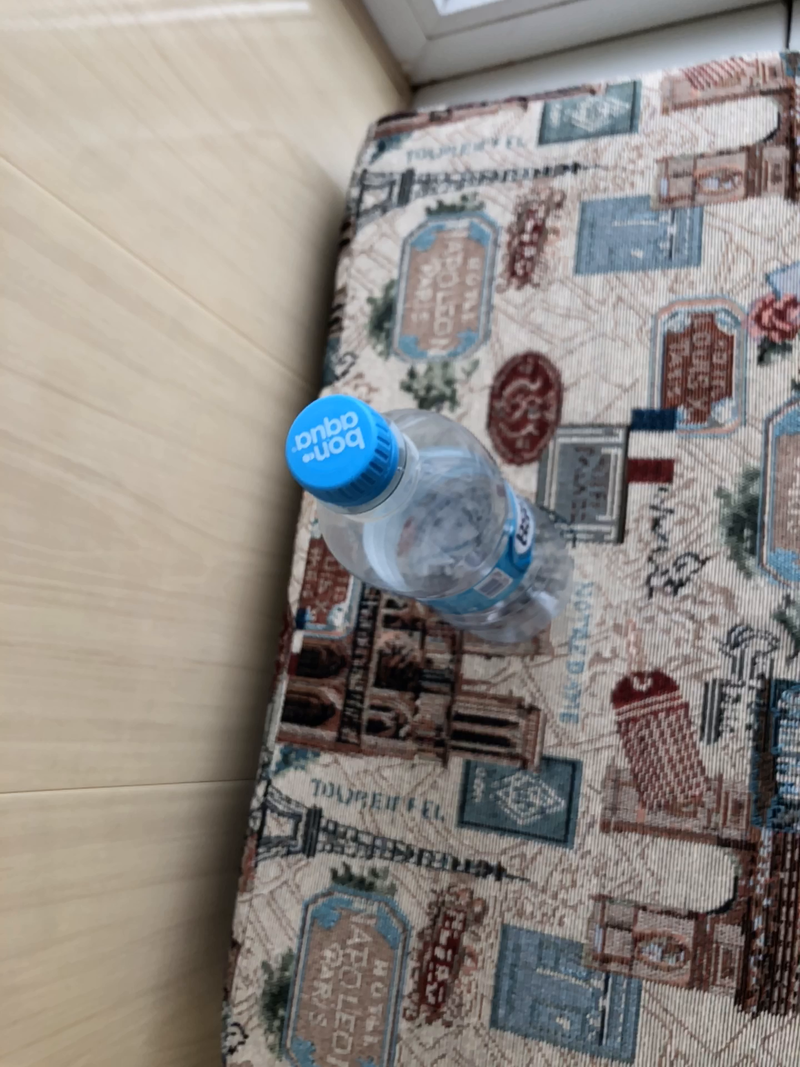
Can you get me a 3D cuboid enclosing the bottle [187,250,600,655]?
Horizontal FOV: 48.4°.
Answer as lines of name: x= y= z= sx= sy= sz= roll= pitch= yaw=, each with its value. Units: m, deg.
bottle: x=0.014 y=-0.009 z=0.335 sx=0.070 sy=0.209 sz=0.080 roll=-12 pitch=73 yaw=21
